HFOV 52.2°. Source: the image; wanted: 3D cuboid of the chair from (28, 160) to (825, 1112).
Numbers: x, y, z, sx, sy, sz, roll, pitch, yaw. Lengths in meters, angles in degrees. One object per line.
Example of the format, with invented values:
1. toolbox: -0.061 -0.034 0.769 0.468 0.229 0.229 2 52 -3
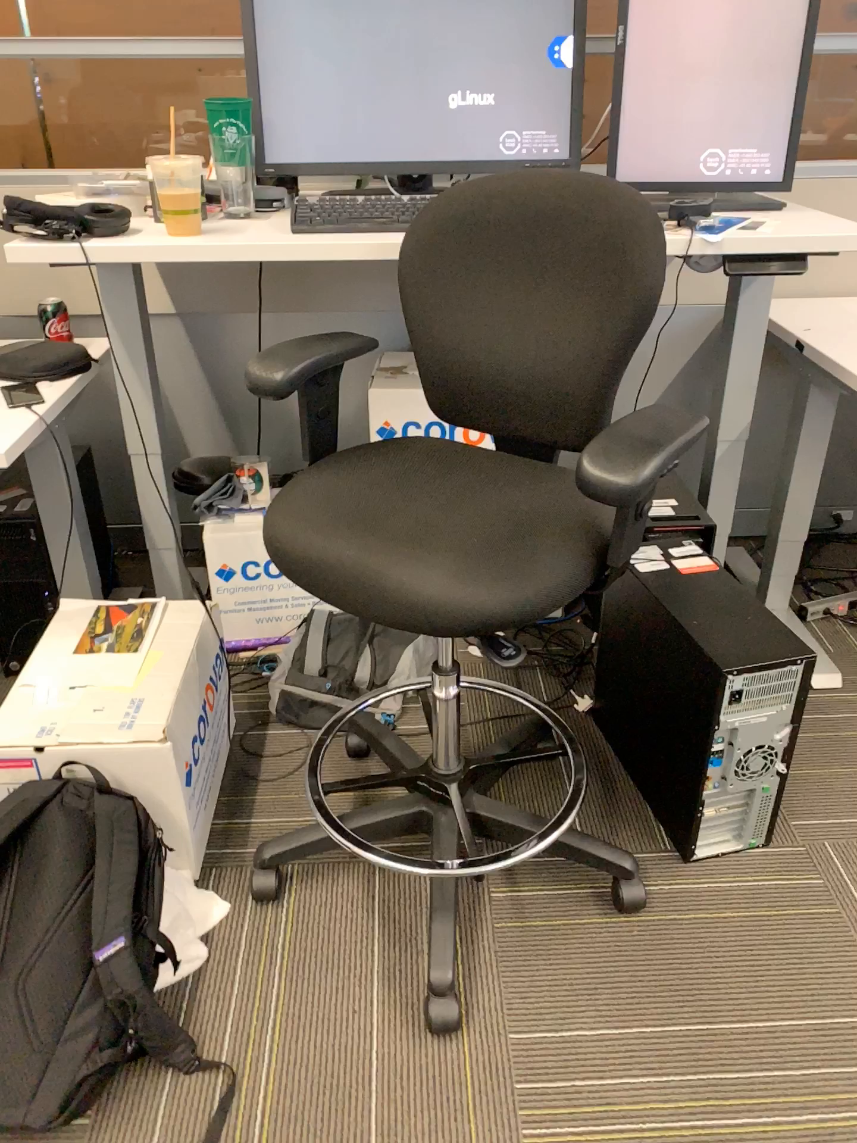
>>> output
1. chair: 0.054 0.001 1.379 0.712 1.103 0.773 17 34 28
